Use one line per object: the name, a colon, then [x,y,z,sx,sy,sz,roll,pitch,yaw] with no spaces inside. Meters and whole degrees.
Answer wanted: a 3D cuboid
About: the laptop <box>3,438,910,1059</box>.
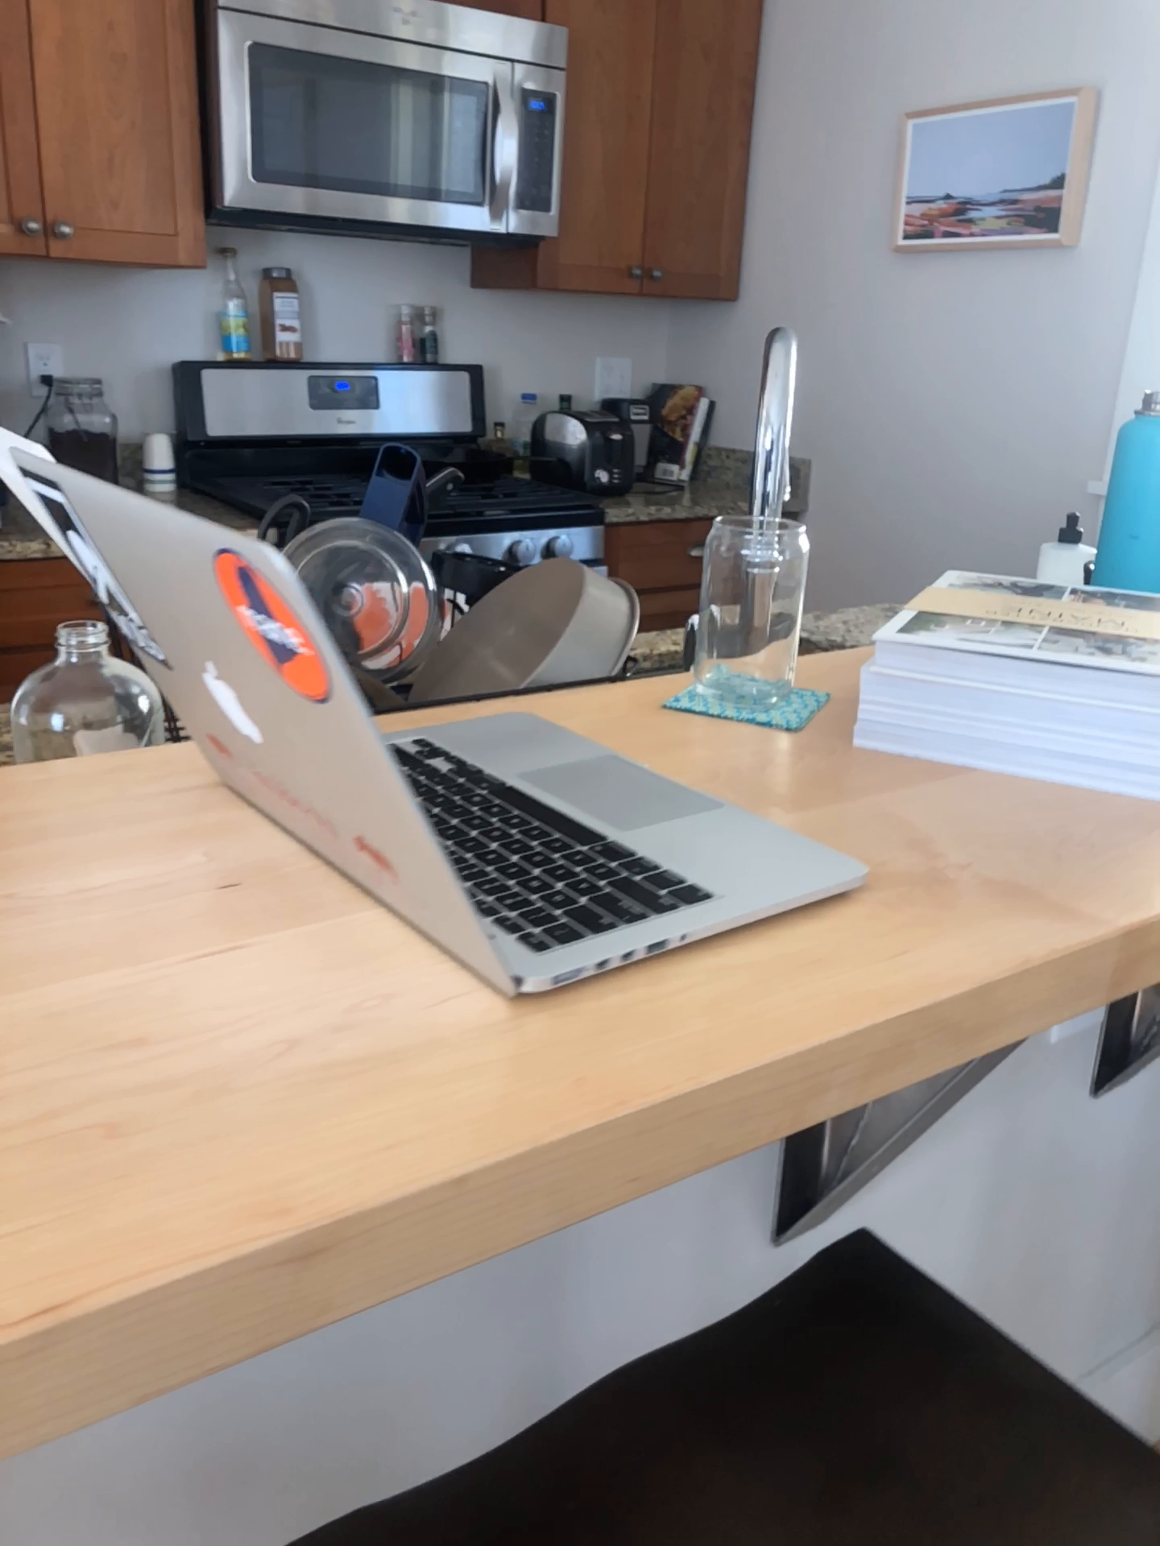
laptop: [-0.075,-0.057,0.663,0.324,0.188,0.322,-12,24,-35]
